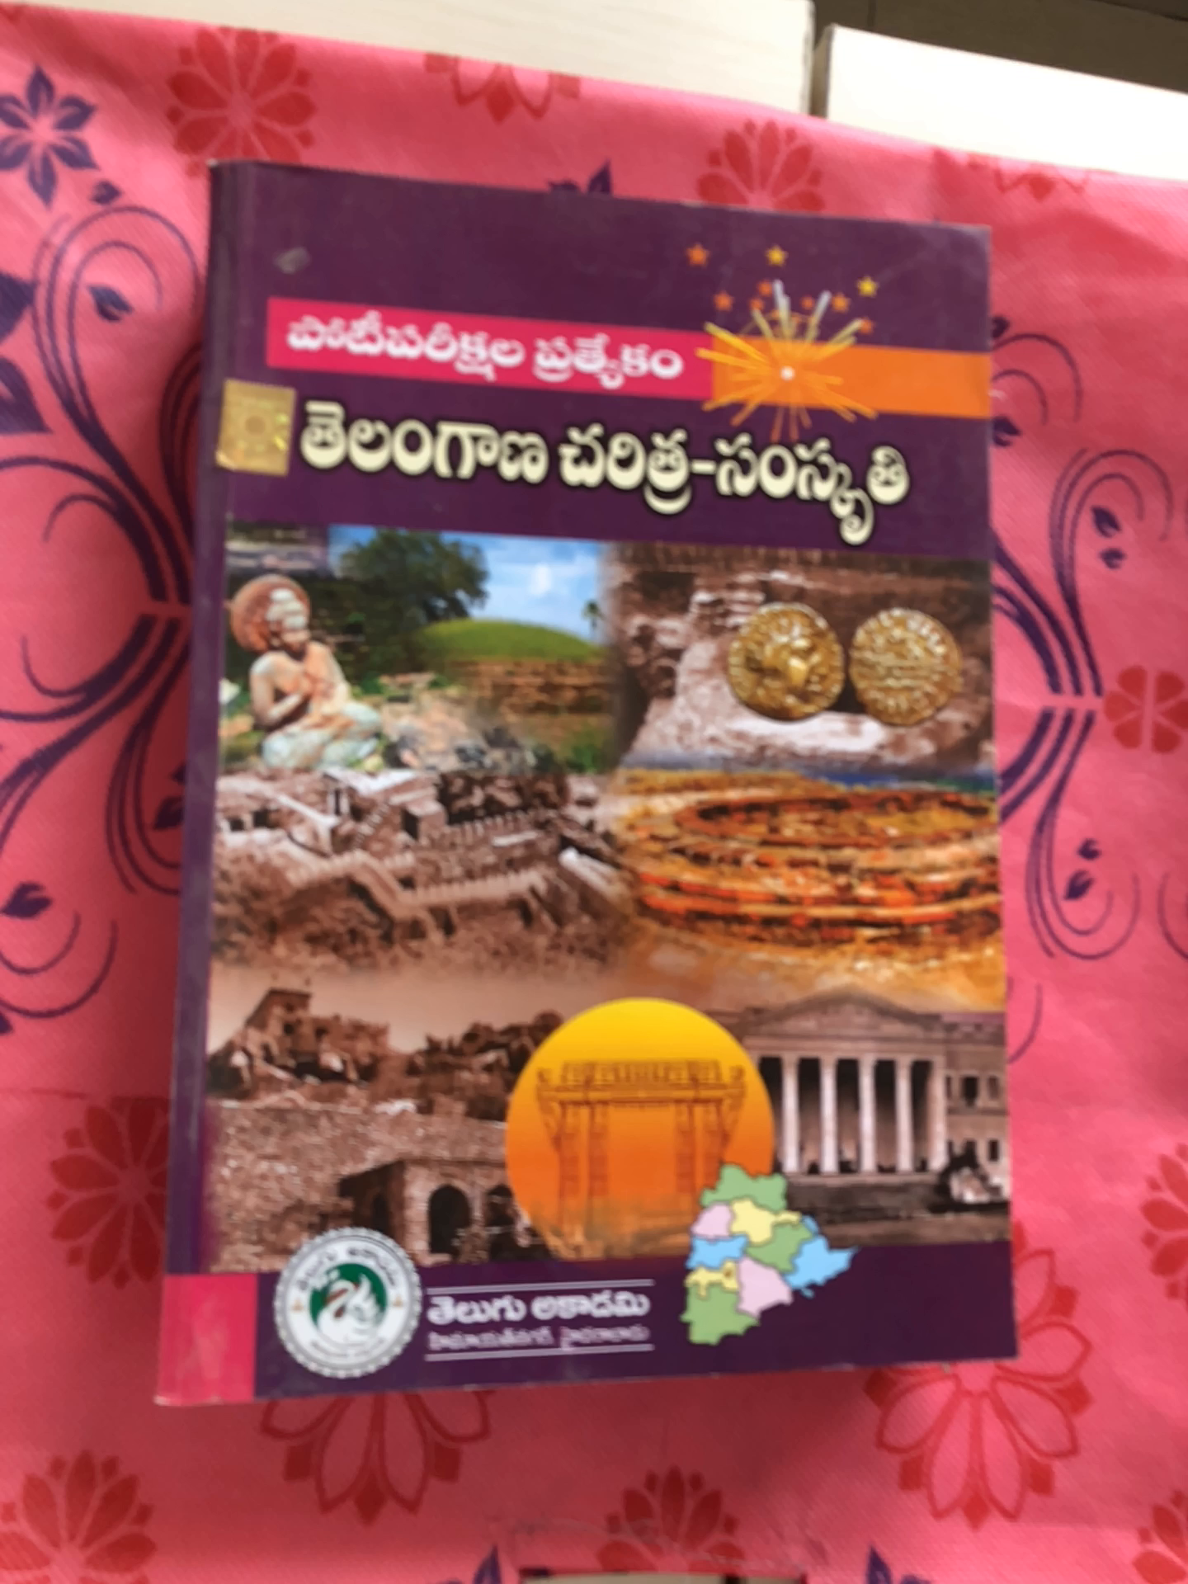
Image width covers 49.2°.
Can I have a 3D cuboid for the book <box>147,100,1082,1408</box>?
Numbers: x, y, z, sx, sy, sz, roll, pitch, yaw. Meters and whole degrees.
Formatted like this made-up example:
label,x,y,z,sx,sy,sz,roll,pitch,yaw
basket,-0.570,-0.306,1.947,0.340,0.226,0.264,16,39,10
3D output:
label,x,y,z,sx,sy,sz,roll,pitch,yaw
book,0.007,-0.012,0.315,0.200,0.050,0.280,1,83,-9
